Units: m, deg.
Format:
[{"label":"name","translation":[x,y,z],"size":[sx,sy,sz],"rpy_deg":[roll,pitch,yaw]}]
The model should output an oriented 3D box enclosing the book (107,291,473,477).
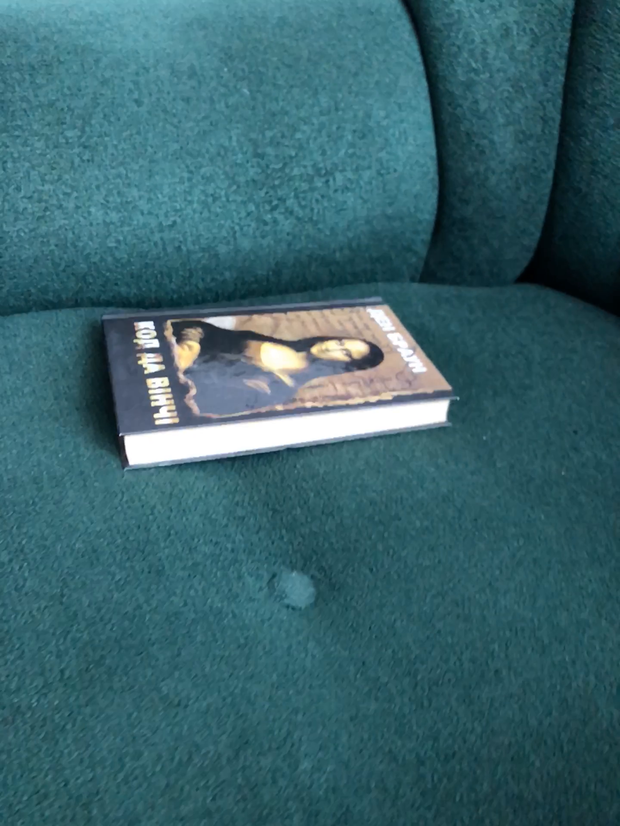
[{"label":"book","translation":[-0.020,-0.029,0.454],"size":[0.209,0.030,0.136],"rpy_deg":[-7,39,-17]}]
